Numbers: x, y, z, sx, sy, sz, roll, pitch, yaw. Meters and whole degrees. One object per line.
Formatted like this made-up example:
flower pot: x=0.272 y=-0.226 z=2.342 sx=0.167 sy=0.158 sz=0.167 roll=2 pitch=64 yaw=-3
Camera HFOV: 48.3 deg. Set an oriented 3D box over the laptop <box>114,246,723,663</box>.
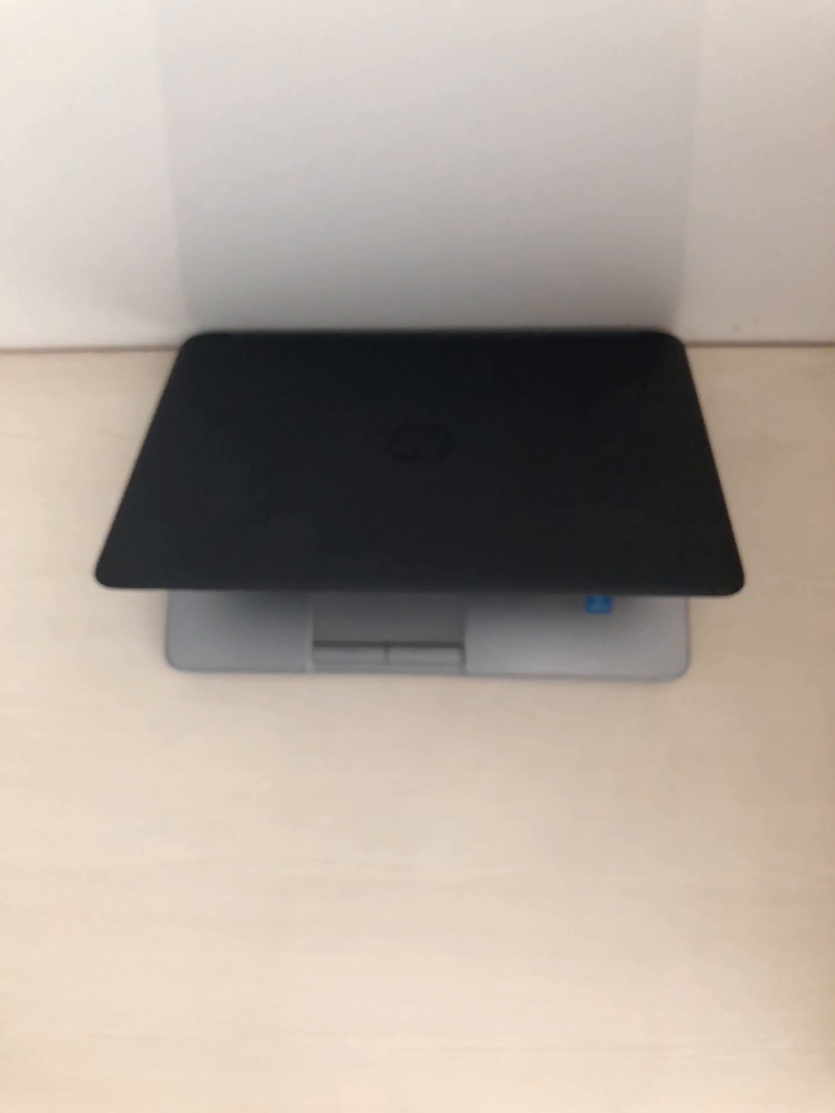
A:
laptop: x=0.004 y=-0.053 z=0.565 sx=0.319 sy=0.119 sz=0.220 roll=0 pitch=80 yaw=2
